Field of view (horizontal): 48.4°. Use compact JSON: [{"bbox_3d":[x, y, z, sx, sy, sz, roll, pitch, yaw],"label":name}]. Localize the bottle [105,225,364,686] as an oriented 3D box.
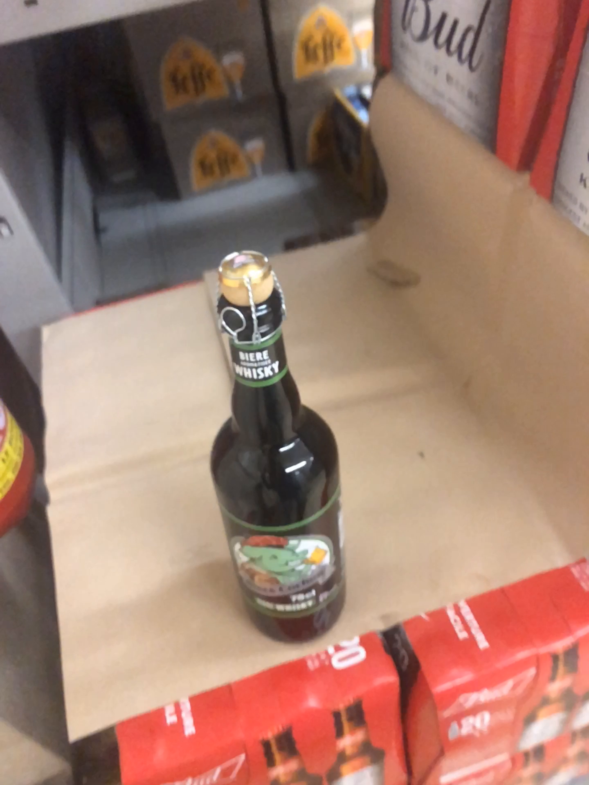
[{"bbox_3d":[-0.017,0.061,0.391,0.090,0.298,0.081,-9,41,0],"label":"bottle"}]
